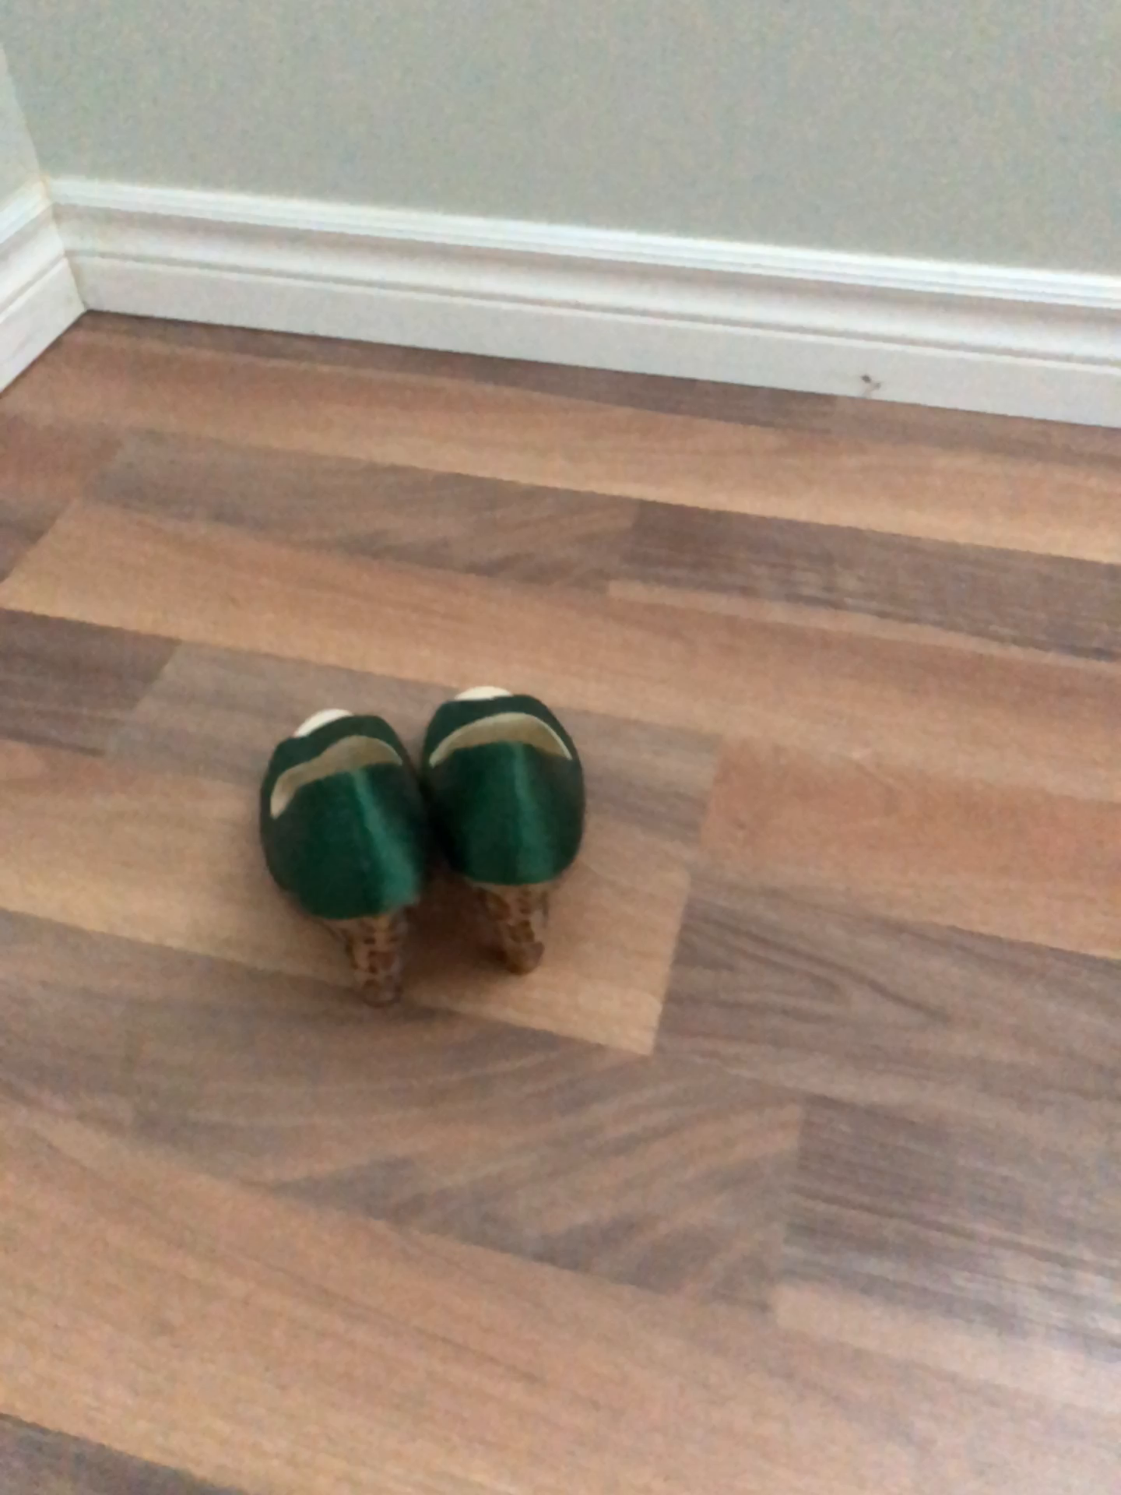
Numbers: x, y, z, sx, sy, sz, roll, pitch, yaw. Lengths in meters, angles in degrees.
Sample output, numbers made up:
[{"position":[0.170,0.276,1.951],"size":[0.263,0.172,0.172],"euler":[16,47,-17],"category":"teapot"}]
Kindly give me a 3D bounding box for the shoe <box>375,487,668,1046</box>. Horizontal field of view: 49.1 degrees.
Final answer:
[{"position":[-0.022,0.002,0.557],"size":[0.090,0.129,0.211],"euler":[-8,48,-6],"category":"shoe"}]

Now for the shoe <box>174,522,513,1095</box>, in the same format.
[{"position":[-0.100,0.021,0.555],"size":[0.090,0.129,0.211],"euler":[-15,49,-12],"category":"shoe"}]
